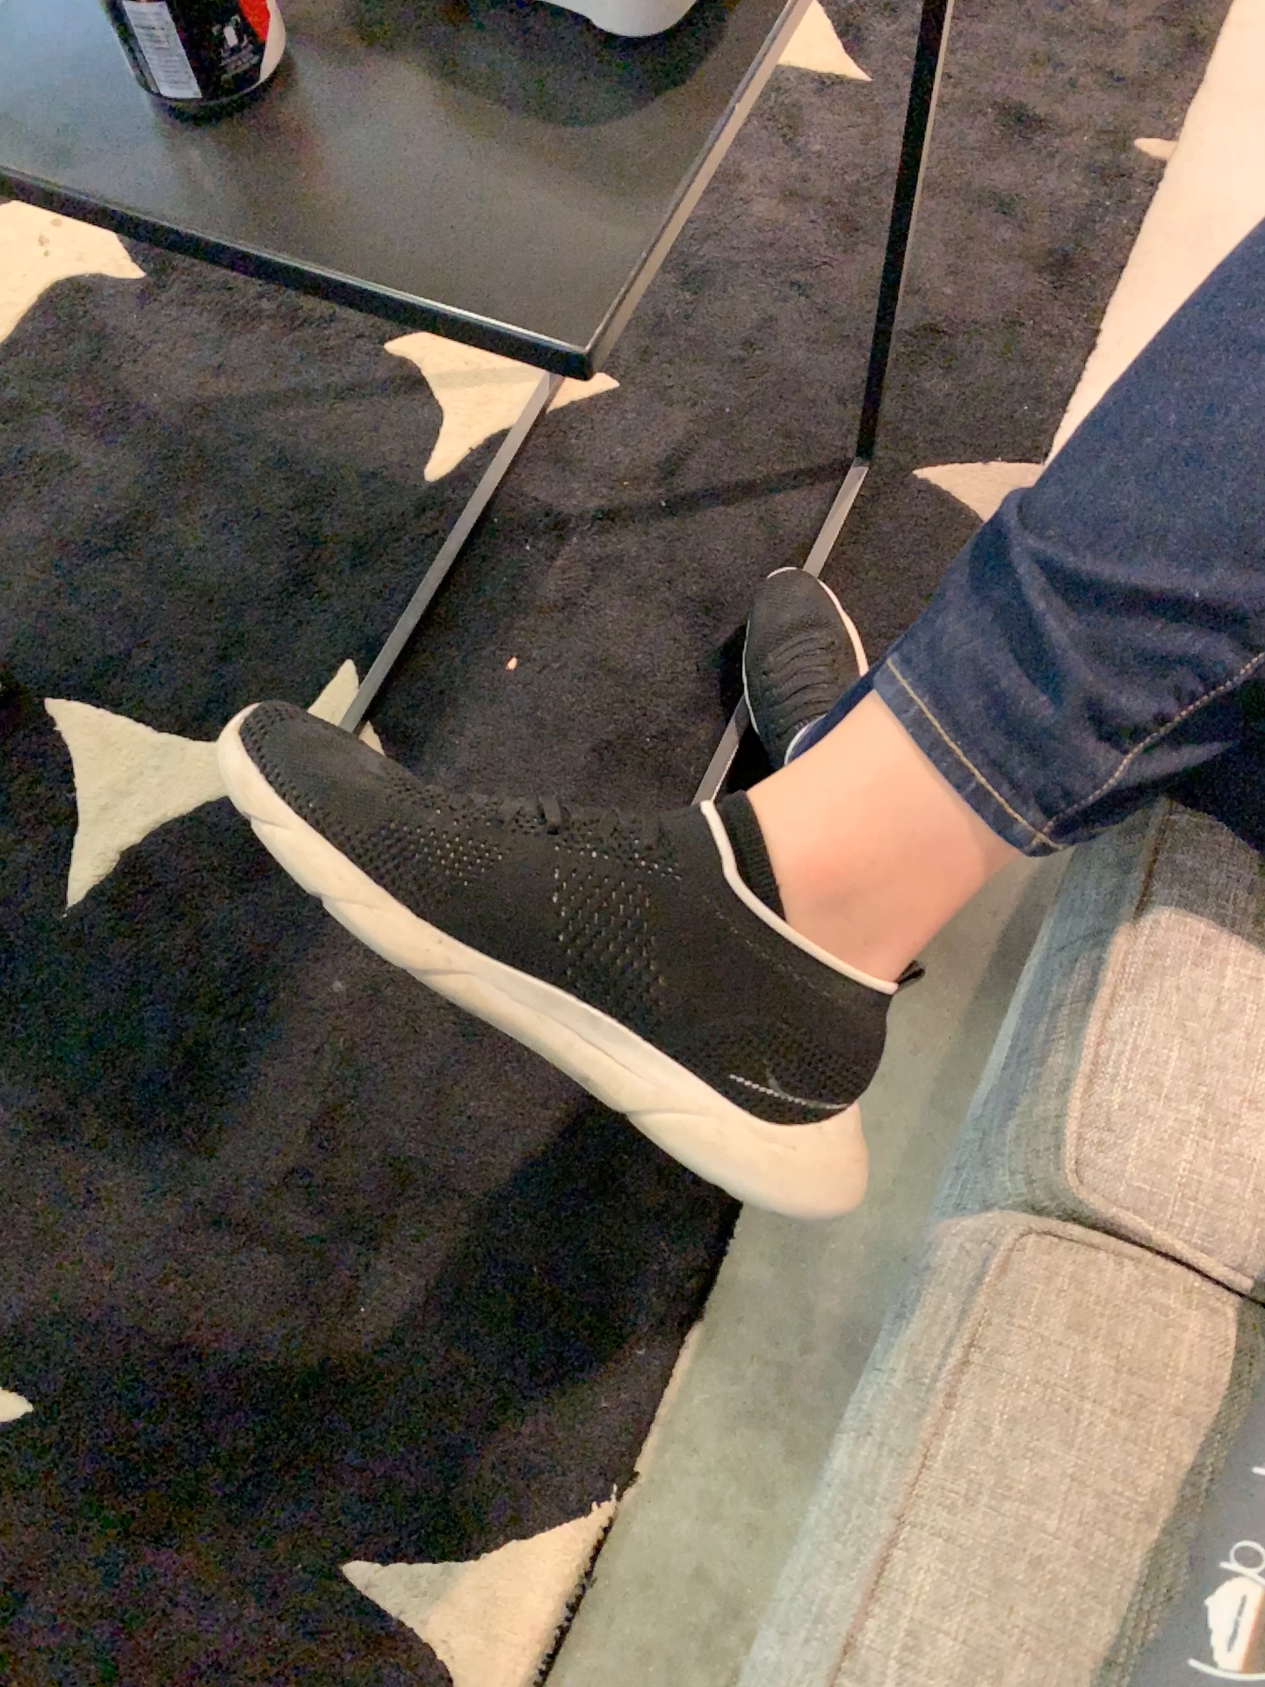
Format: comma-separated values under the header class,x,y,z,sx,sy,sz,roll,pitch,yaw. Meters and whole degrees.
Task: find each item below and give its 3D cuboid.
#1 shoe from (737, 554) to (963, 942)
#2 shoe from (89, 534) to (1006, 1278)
class,x,y,z,sx,sy,sz,roll,pitch,yaw
shoe,0.170,-0.083,1.057,0.116,0.074,0.304,-9,66,0
shoe,-0.029,0.022,0.487,0.276,0.112,0.132,28,86,2
